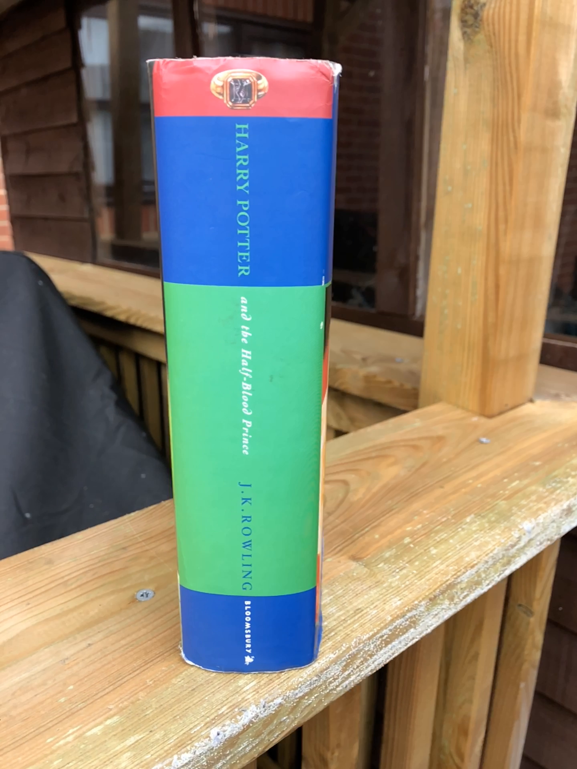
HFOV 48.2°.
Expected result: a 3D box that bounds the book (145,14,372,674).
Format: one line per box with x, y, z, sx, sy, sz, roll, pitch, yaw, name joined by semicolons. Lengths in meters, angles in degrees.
-0.007;-0.018;0.267;0.060;0.209;0.141;0;17;1;book
